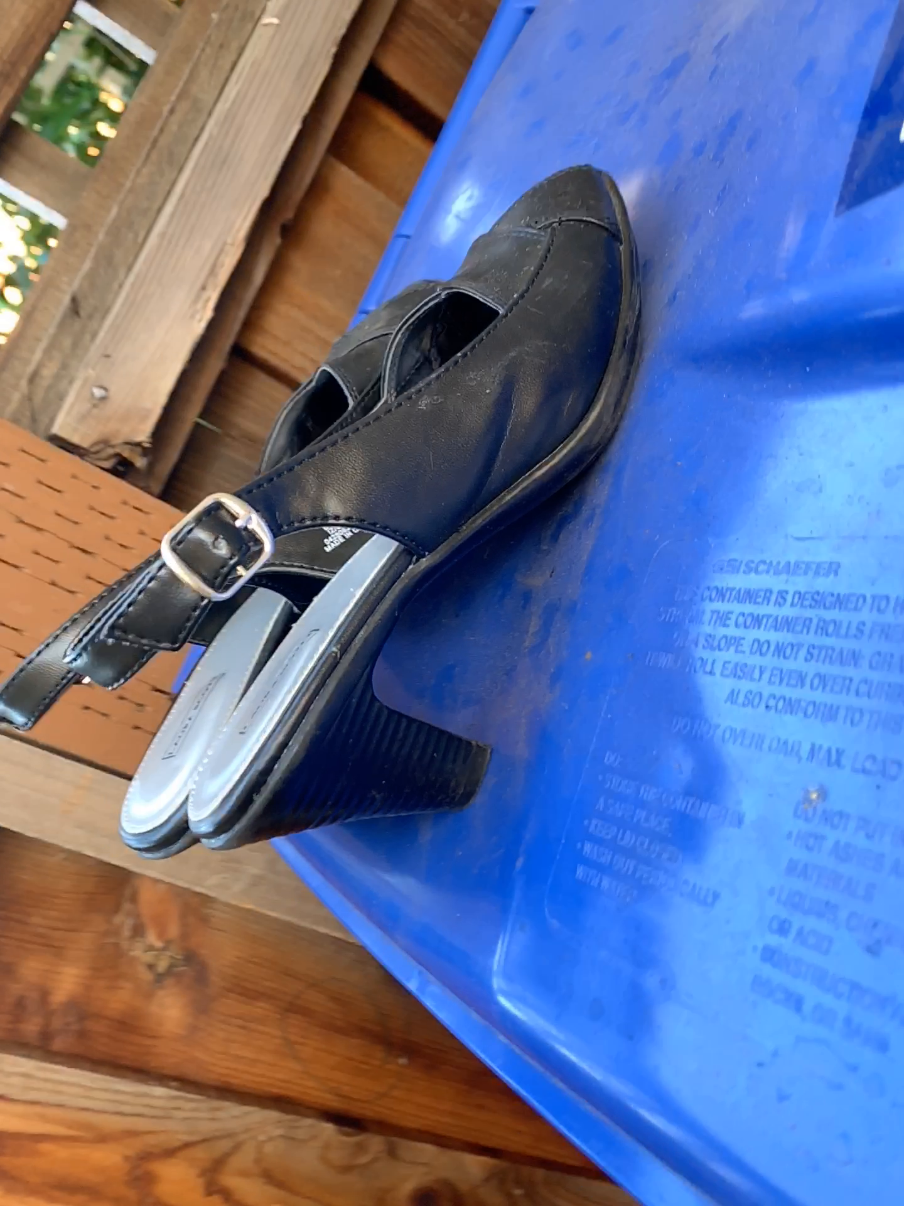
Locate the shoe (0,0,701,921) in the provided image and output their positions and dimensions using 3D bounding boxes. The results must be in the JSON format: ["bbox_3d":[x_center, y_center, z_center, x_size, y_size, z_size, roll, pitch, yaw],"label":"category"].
[{"bbox_3d":[-0.019,-0.055,0.269,0.091,0.099,0.251,-17,50,56],"label":"shoe"}]

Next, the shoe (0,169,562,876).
[{"bbox_3d":[-0.047,-0.037,0.350,0.091,0.089,0.251,-16,43,41],"label":"shoe"}]
